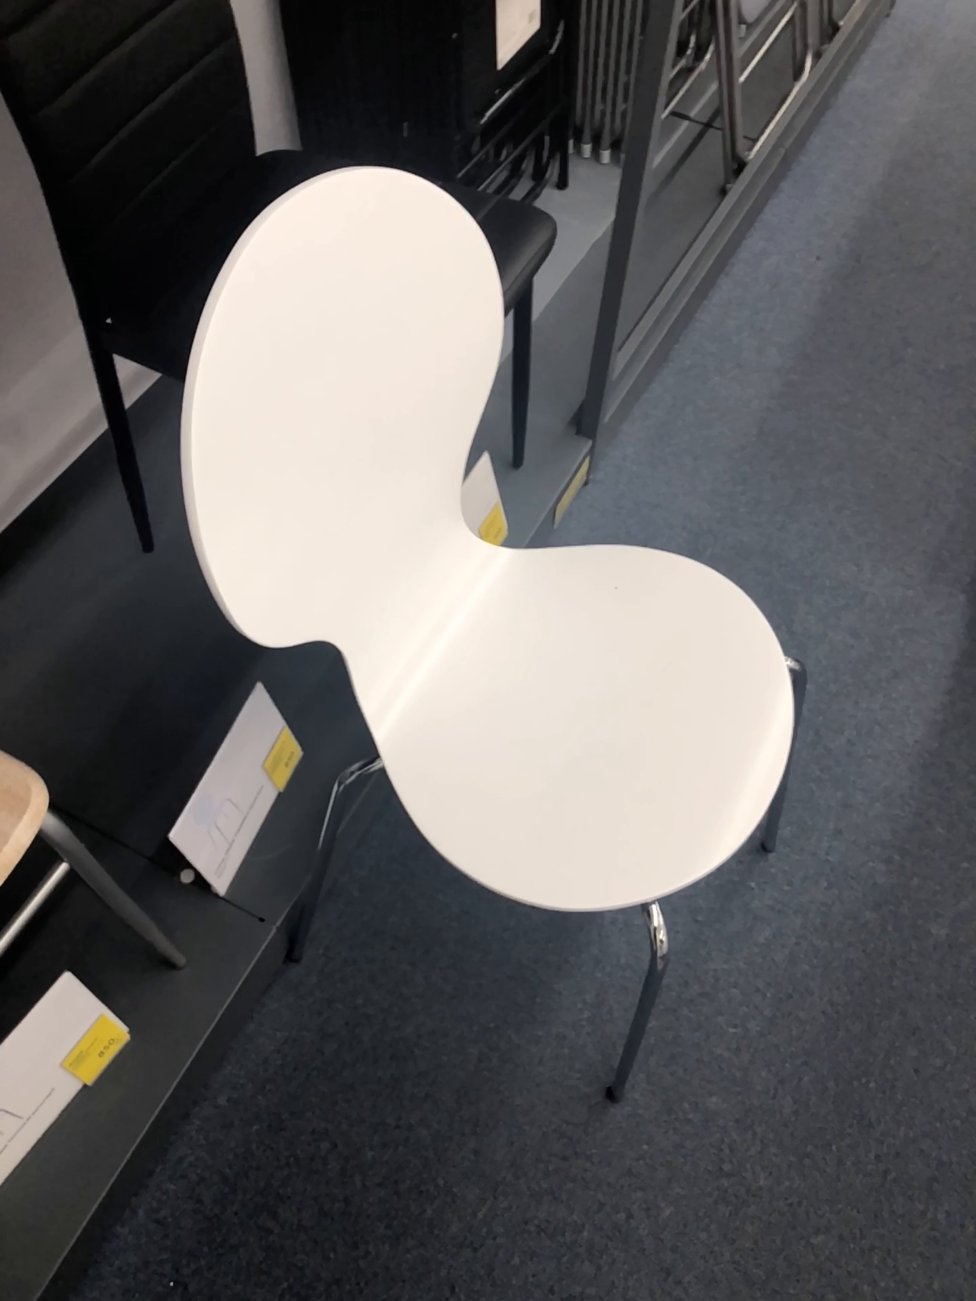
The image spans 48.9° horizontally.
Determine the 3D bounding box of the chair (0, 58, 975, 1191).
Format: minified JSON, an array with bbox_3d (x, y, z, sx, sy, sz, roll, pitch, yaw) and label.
[{"bbox_3d":[0.023,0.035,1.086,0.640,0.818,0.561,30,60,16],"label":"chair"}]
